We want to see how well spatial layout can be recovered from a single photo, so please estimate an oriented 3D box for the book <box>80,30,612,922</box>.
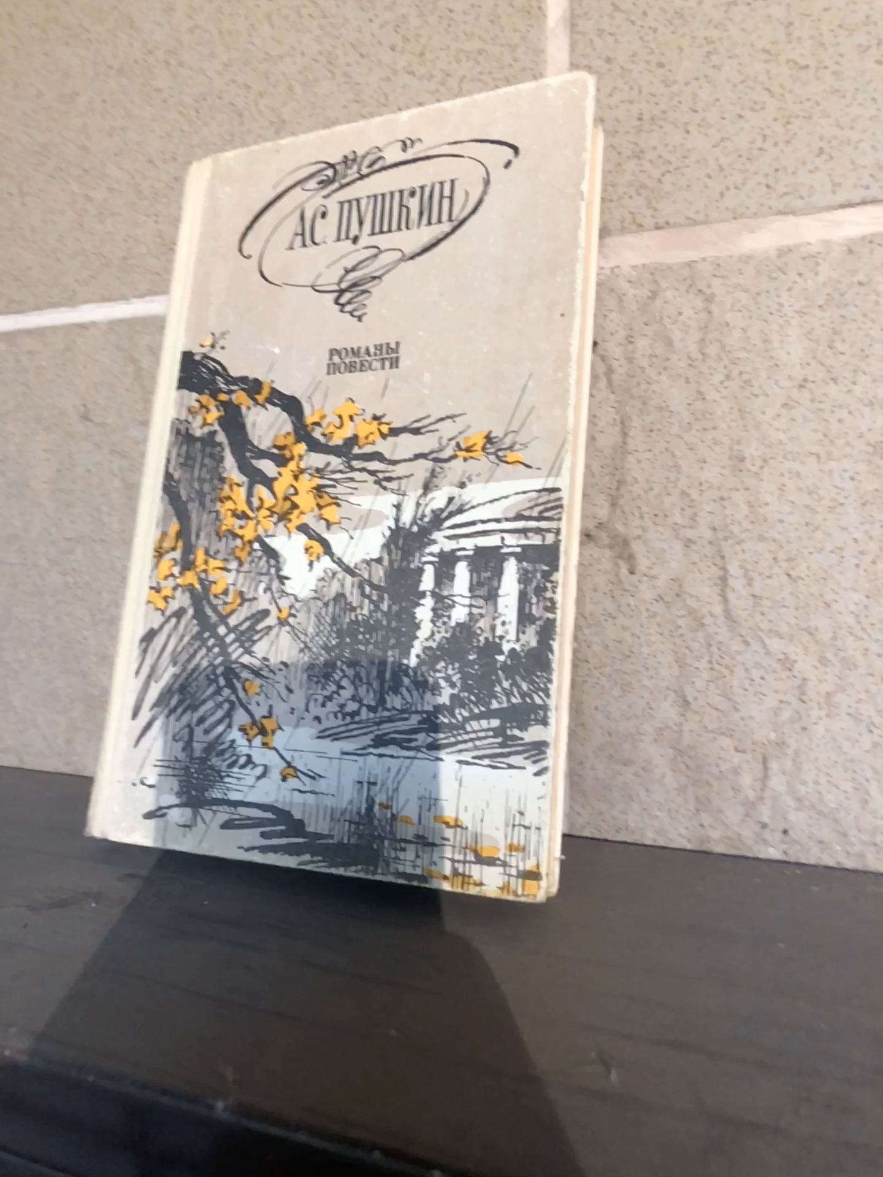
[{"bbox_3d":[-0.026,-0.029,0.251,0.130,0.199,0.020,0,-8,26],"label":"book"}]
